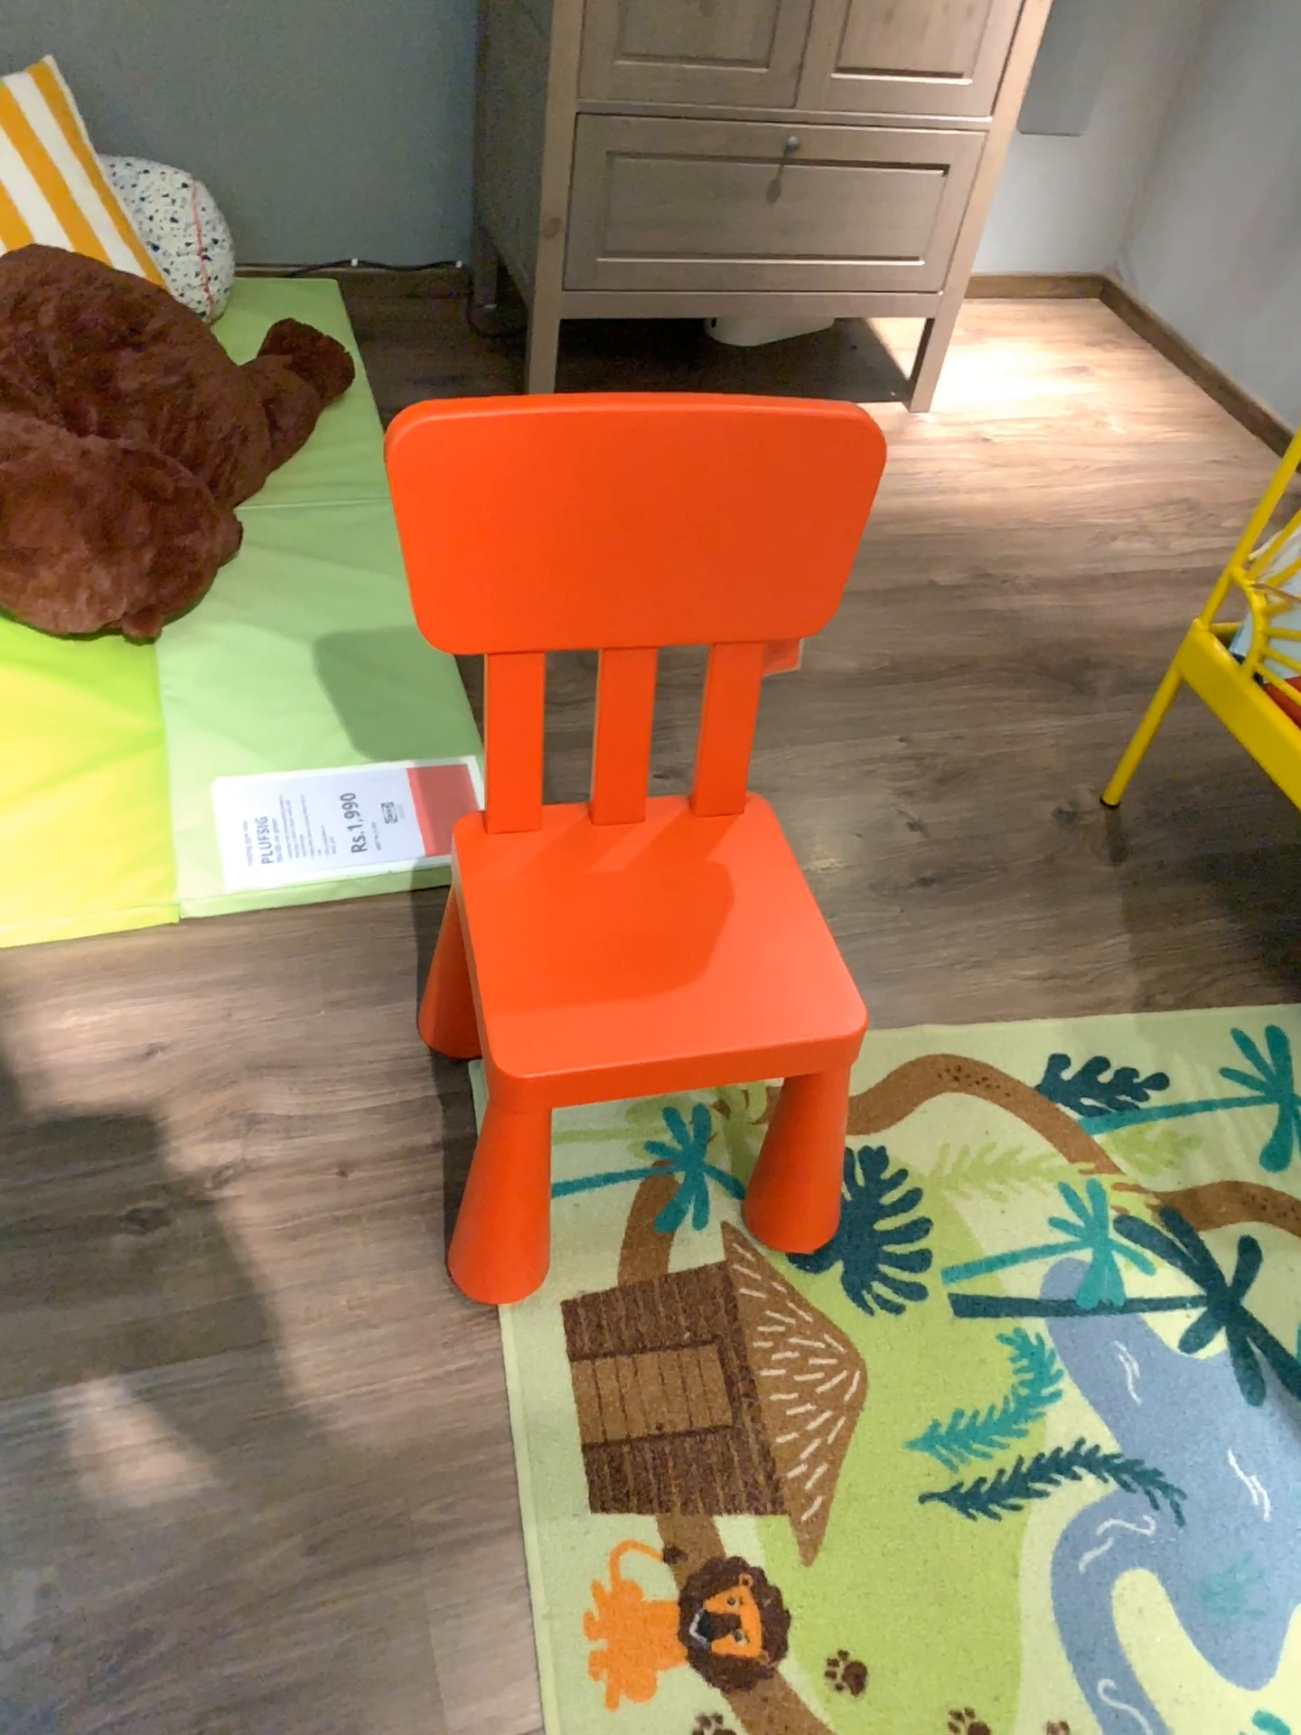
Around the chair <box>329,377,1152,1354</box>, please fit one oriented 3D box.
[{"bbox_3d":[-0.010,-0.004,1.094,0.430,0.598,0.492,-6,47,-15],"label":"chair"}]
